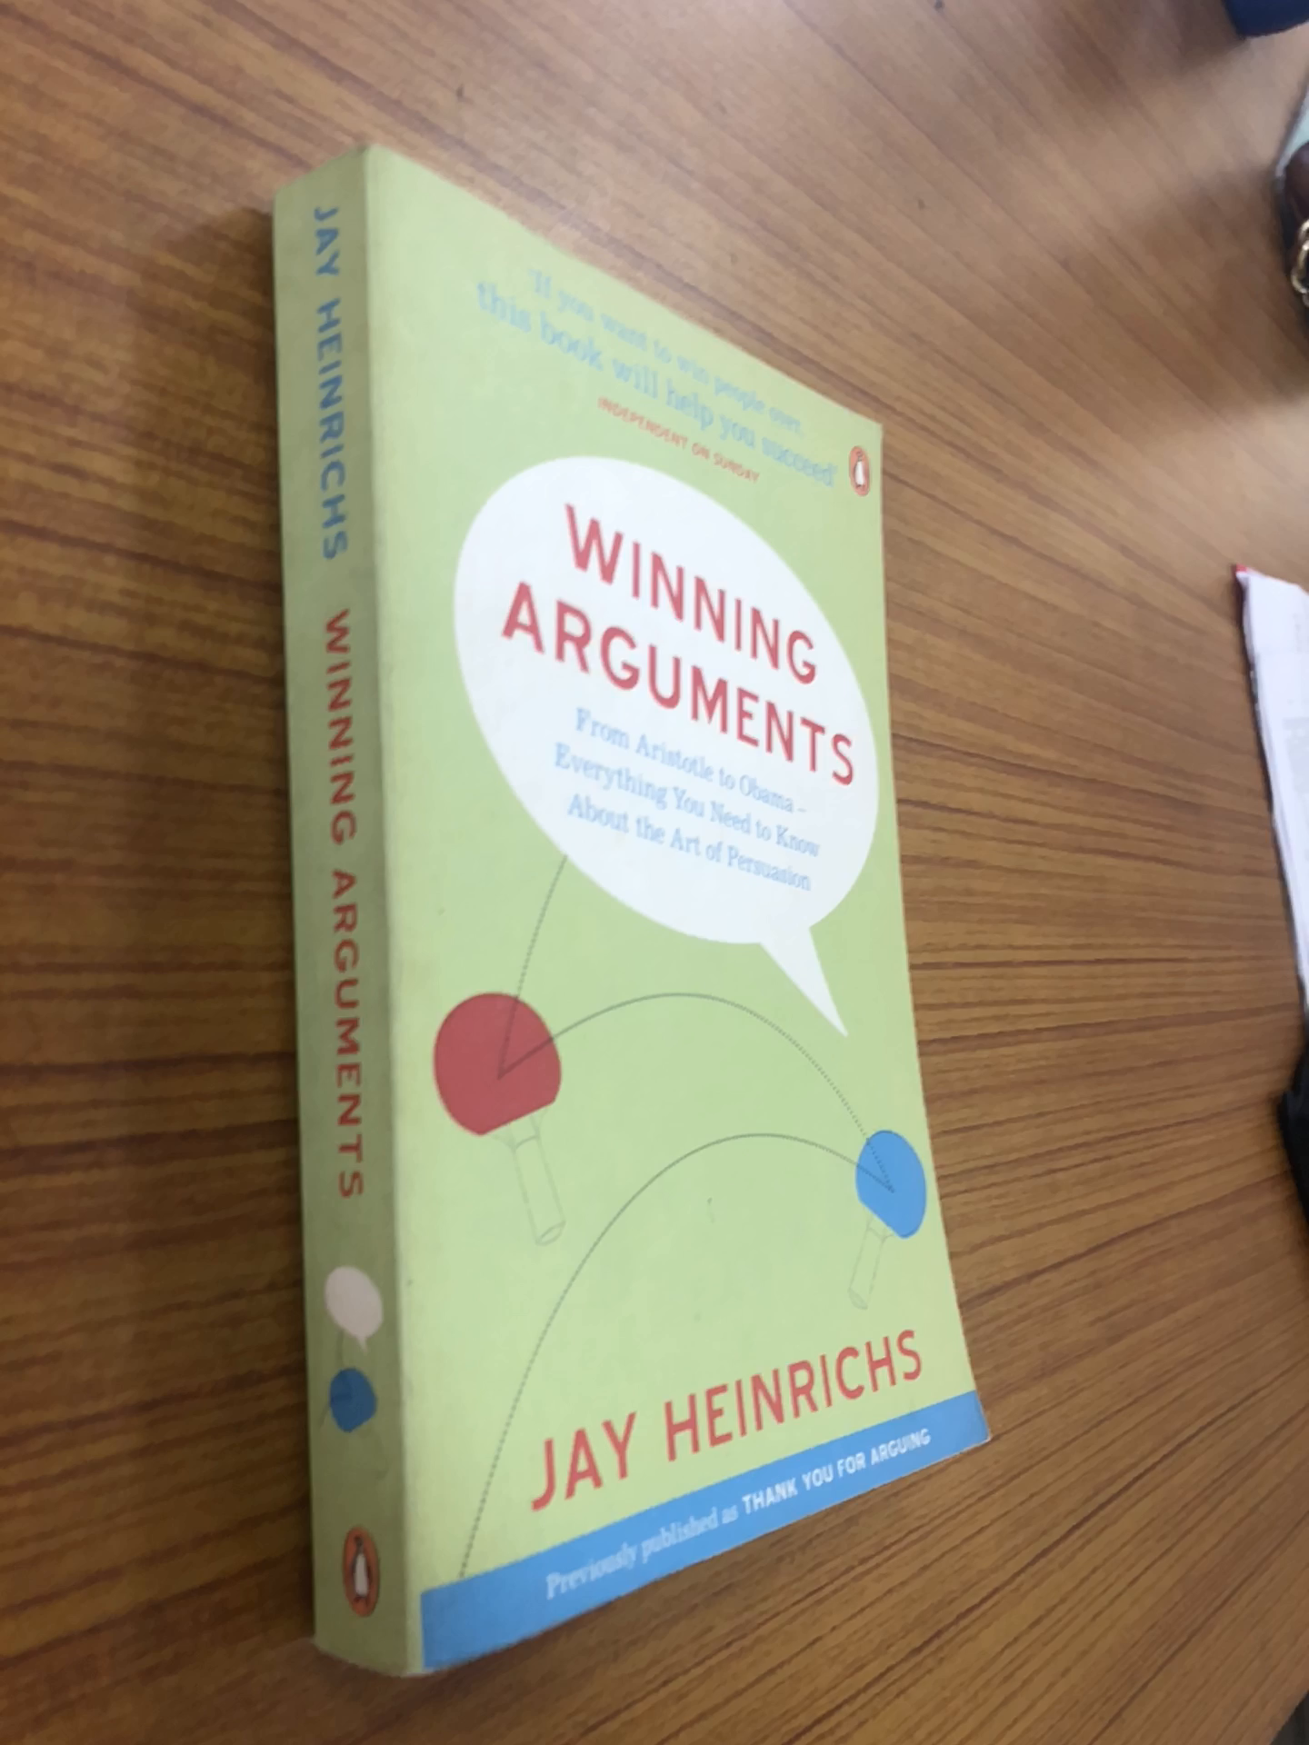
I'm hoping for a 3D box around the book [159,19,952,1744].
[{"bbox_3d":[-0.007,0.004,0.233,0.141,0.030,0.210,7,77,-51],"label":"book"}]
